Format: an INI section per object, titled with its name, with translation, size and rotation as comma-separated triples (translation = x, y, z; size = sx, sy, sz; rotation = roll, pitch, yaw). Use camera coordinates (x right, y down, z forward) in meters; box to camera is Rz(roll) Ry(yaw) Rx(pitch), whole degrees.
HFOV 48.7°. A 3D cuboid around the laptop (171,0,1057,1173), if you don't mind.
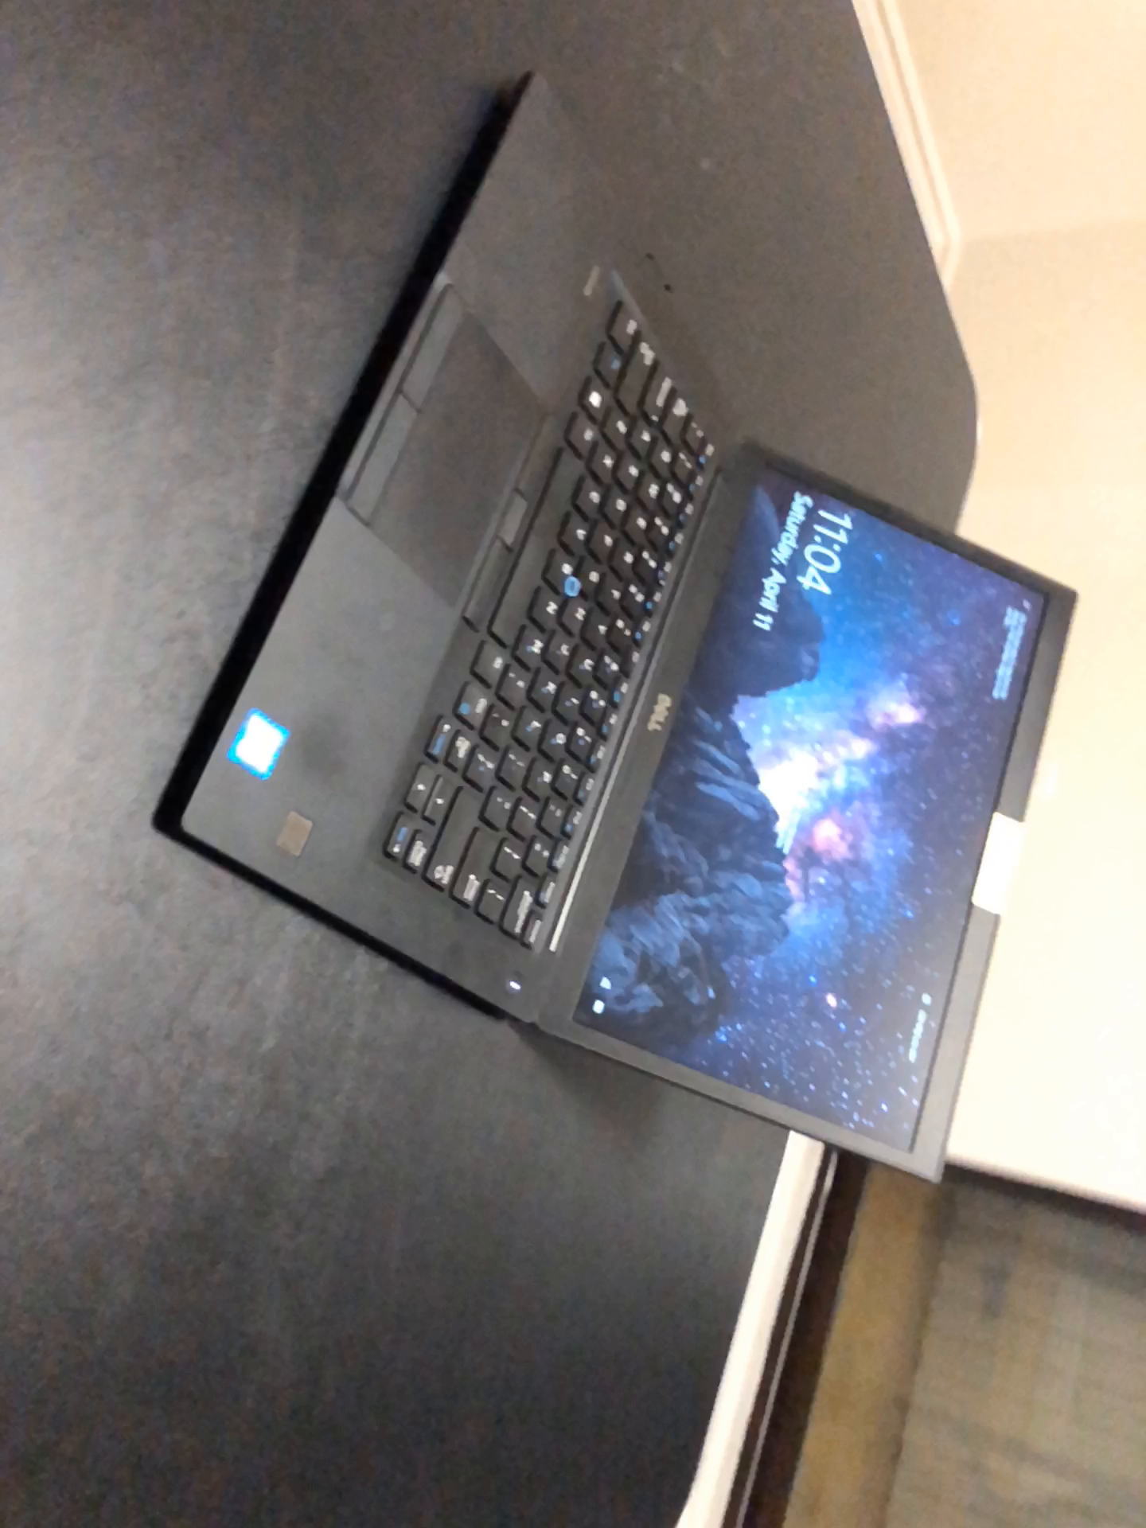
[laptop]
translation = 0.072, -0.039, 0.537
size = 0.369, 0.140, 0.320
rotation = 45, 59, -51
